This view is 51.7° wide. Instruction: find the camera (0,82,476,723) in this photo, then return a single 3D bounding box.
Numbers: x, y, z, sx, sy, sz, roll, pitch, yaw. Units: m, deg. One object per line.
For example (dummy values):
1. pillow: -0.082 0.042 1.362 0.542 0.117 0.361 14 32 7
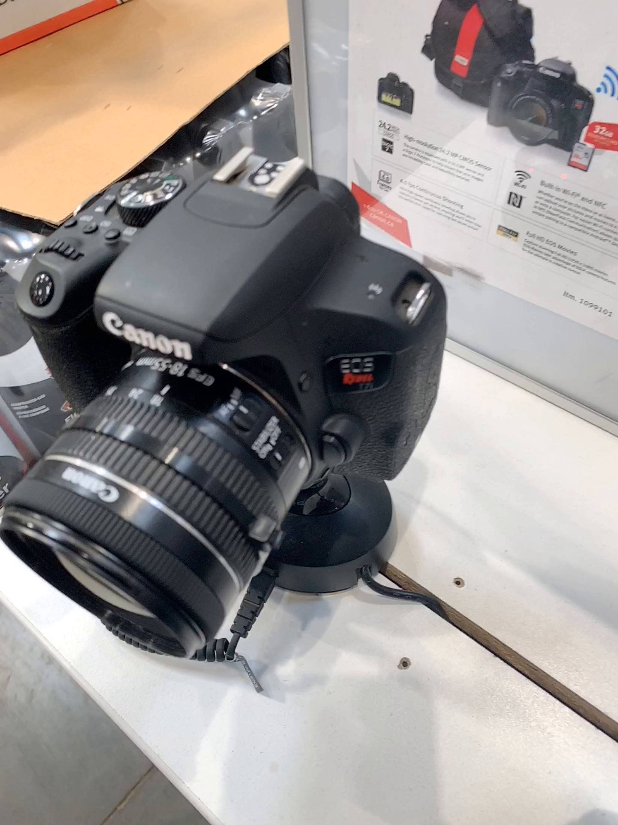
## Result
1. camera: -0.042 -0.012 0.183 0.134 0.089 0.121 19 55 18
